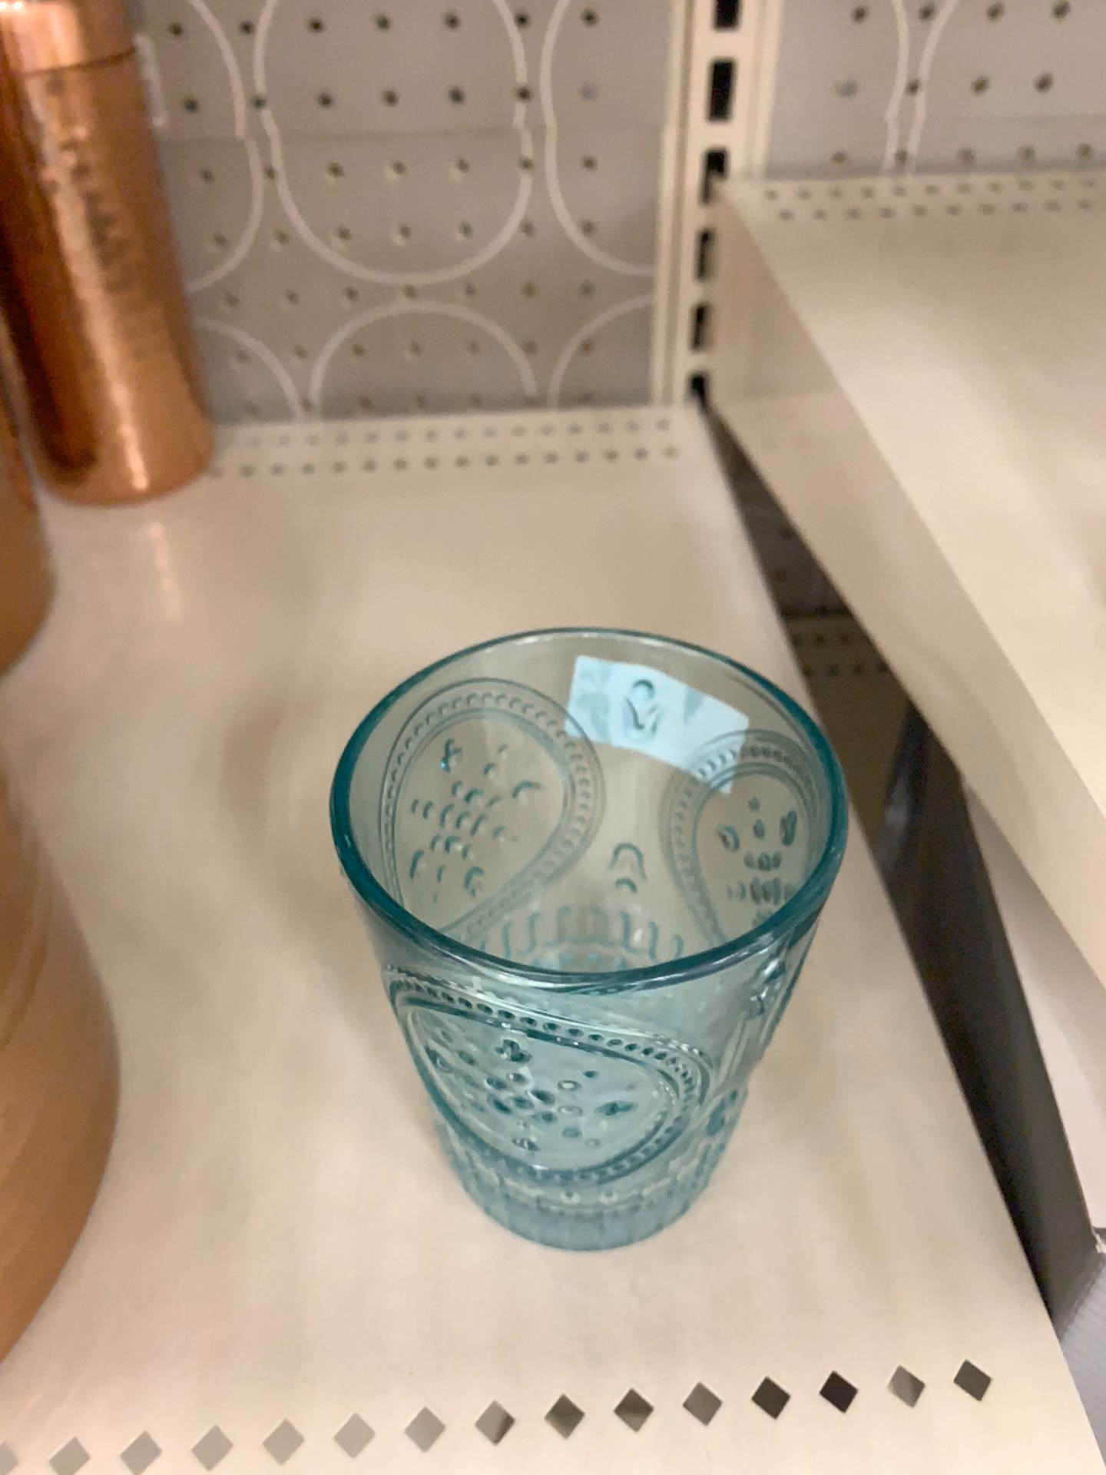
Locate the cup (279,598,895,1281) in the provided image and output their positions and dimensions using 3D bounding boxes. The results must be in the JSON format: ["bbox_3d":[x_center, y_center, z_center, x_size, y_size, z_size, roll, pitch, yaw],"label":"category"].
[{"bbox_3d":[0.003,0.036,0.207,0.078,0.091,0.076,-1,43,1],"label":"cup"}]
